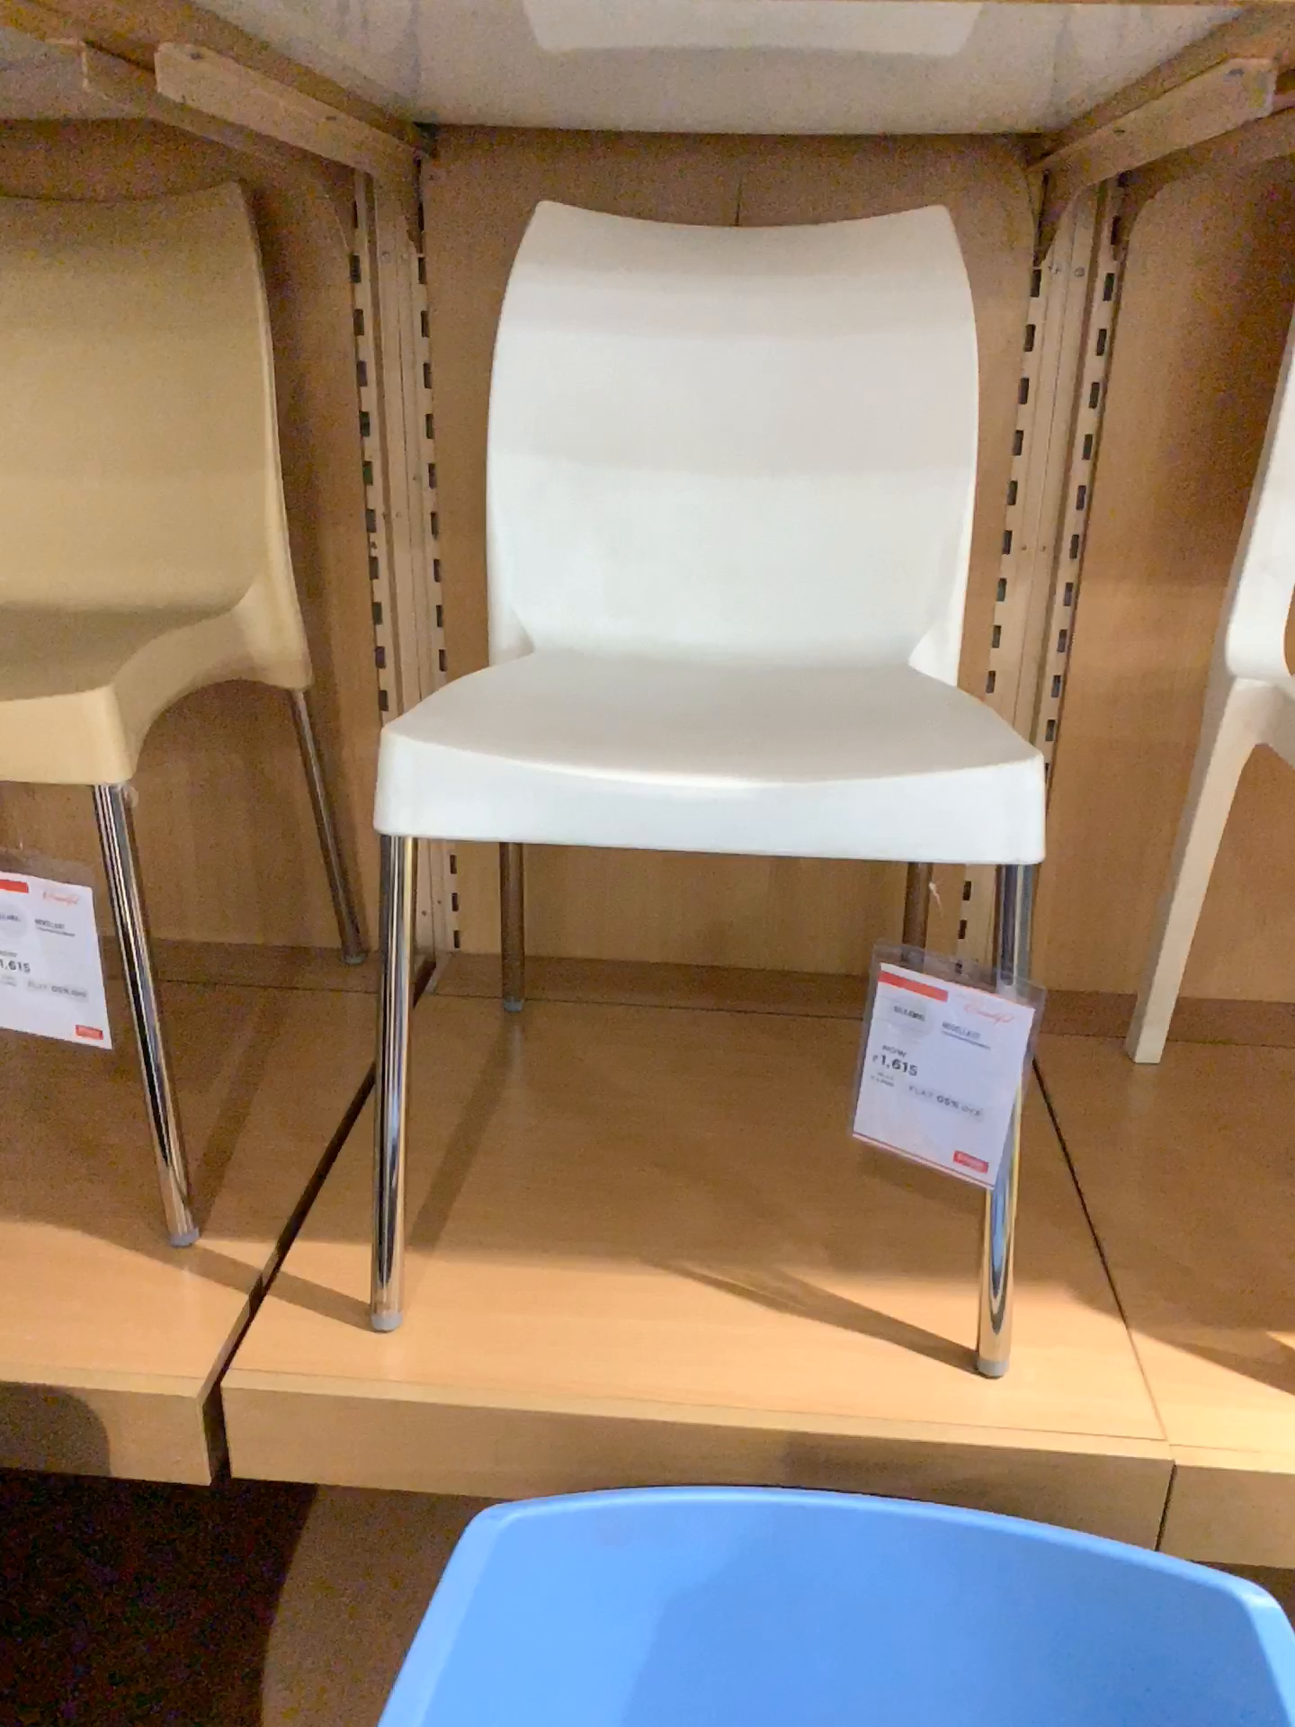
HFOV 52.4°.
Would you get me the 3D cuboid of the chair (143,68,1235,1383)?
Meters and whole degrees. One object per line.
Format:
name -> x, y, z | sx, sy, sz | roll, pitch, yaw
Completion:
chair -> 0.032, -0.149, 1.223 | 0.610, 0.916, 0.683 | 3, 22, 3
